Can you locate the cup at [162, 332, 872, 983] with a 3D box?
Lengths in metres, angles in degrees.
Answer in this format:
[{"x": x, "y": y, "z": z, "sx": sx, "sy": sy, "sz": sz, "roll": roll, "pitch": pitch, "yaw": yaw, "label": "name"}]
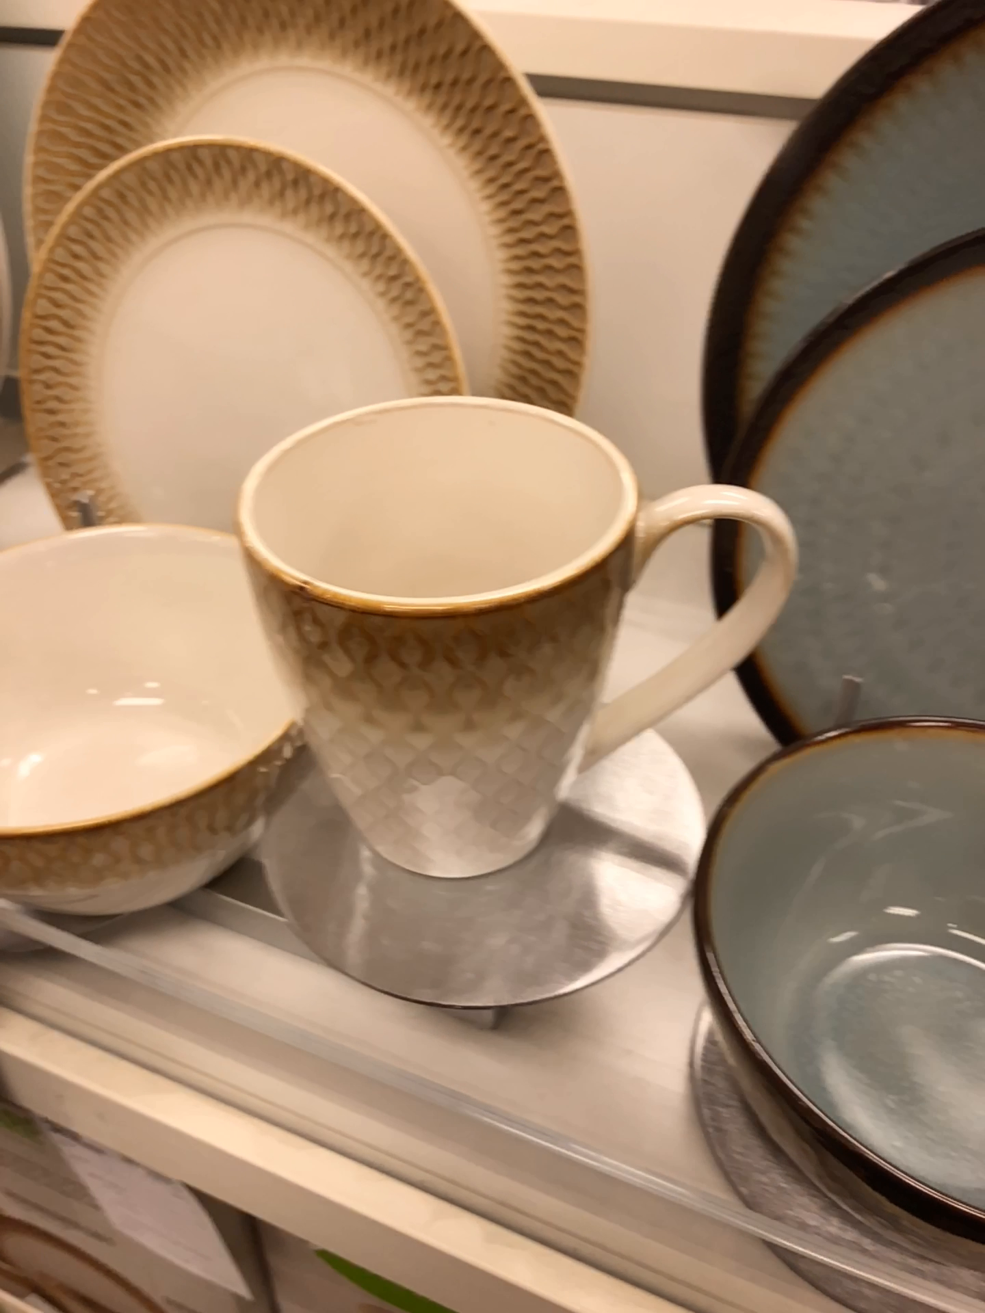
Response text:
[{"x": 0.003, "y": -0.009, "z": 0.278, "sx": 0.129, "sy": 0.089, "sz": 0.100, "roll": -20, "pitch": 43, "yaw": -23, "label": "cup"}]
